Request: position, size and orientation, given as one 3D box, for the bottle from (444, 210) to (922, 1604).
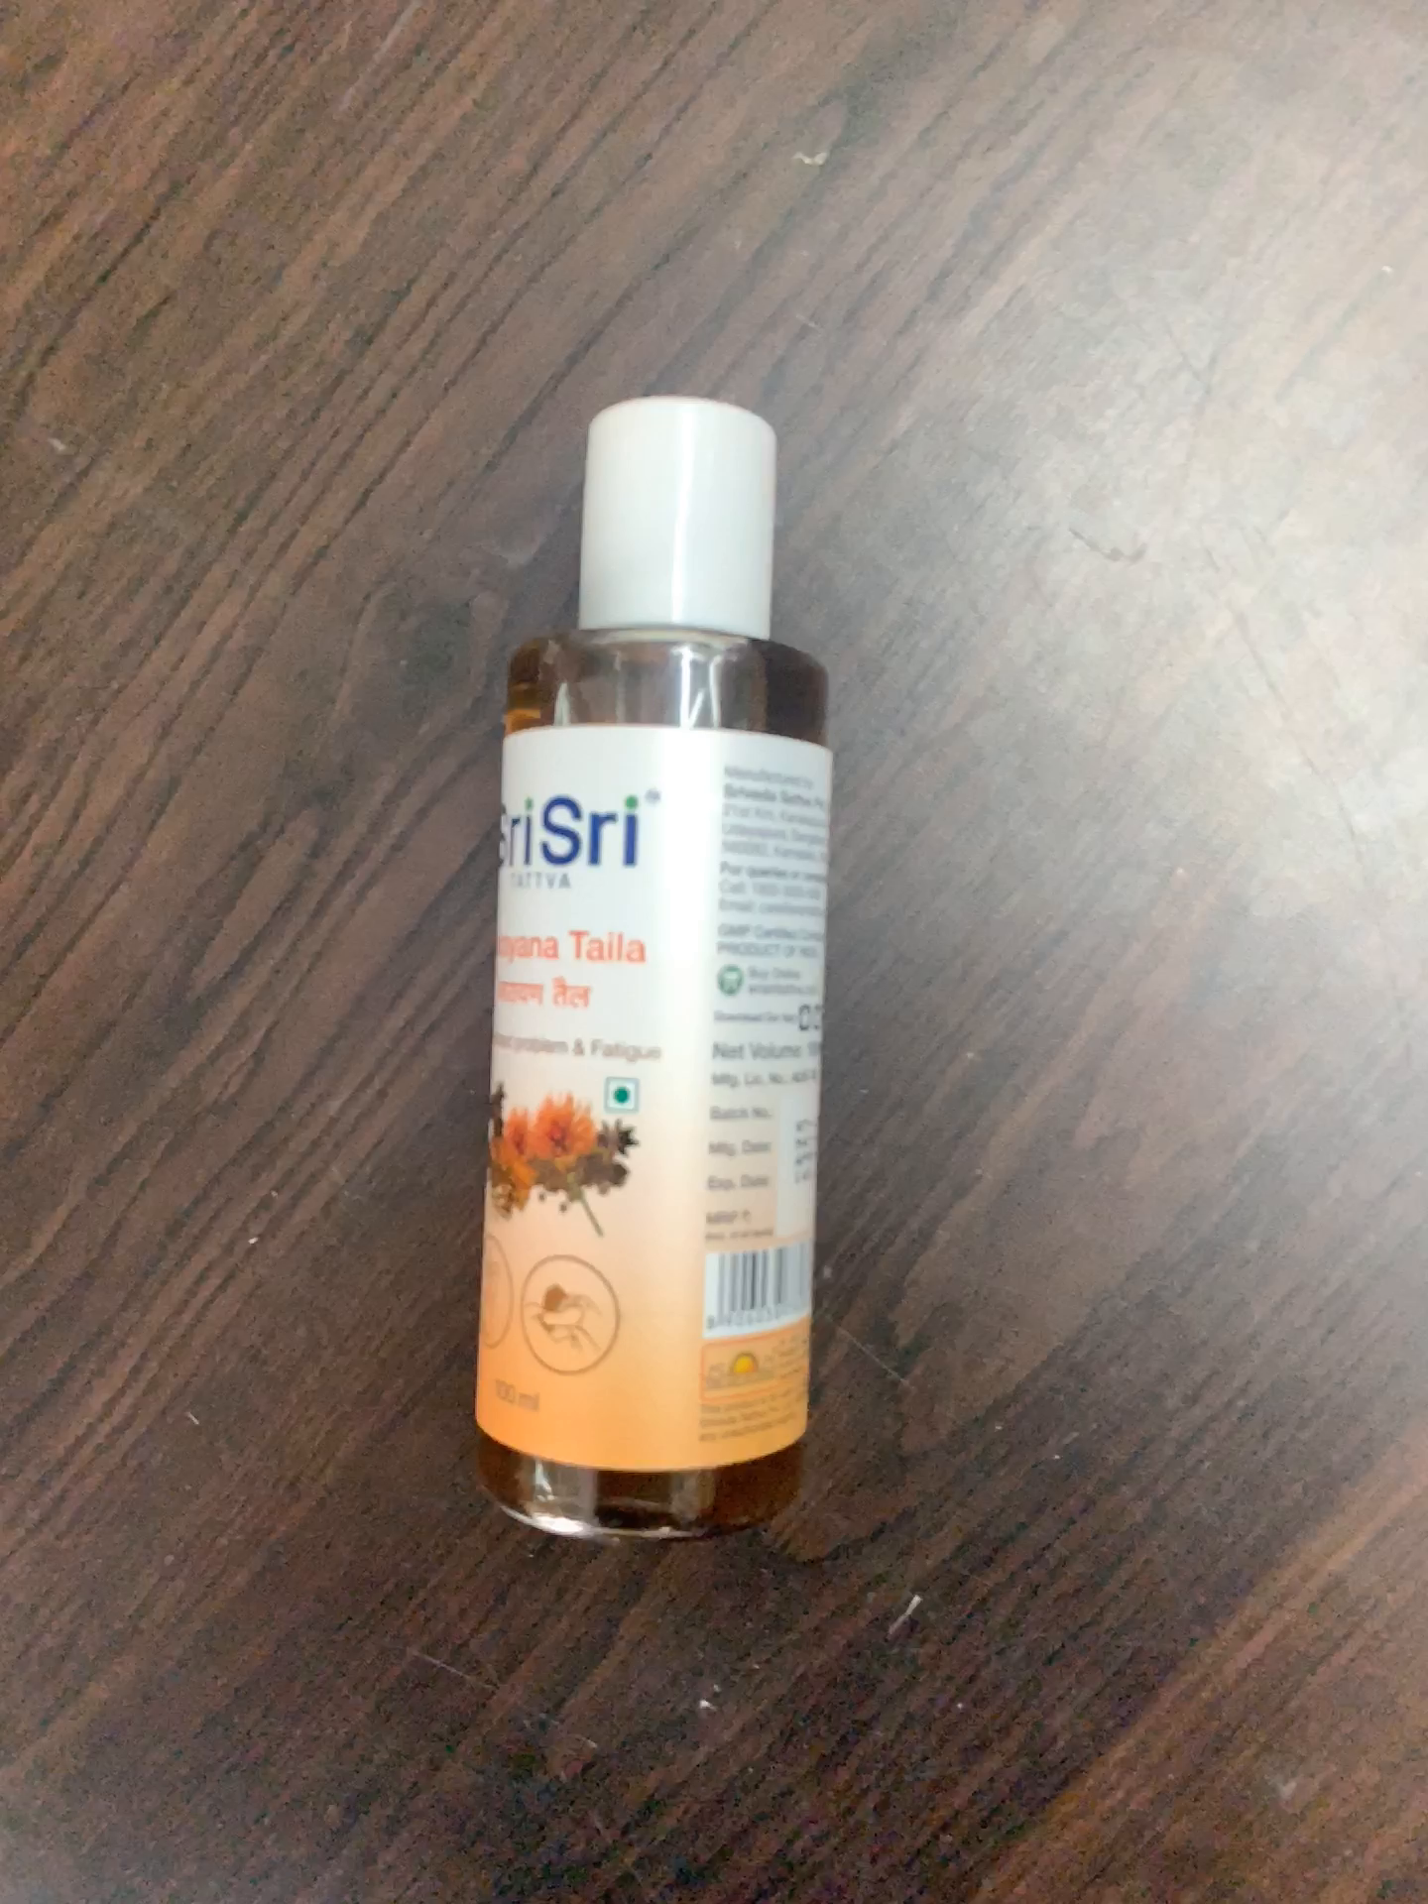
[{"bbox_3d":[-0.002,-0.005,0.175,0.040,0.040,0.140,1,90,28],"label":"bottle"}]
